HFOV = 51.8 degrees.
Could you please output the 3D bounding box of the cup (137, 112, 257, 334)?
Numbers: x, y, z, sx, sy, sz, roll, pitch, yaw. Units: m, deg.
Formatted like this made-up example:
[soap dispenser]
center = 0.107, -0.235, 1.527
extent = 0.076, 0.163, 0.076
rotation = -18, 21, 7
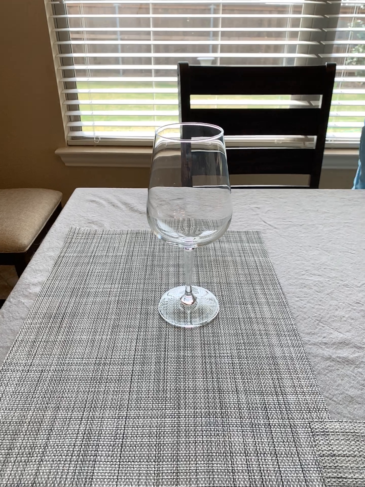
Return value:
[cup]
center = 0.014, -0.021, 0.412
extent = 0.100, 0.214, 0.108
rotation = 0, 31, 0
